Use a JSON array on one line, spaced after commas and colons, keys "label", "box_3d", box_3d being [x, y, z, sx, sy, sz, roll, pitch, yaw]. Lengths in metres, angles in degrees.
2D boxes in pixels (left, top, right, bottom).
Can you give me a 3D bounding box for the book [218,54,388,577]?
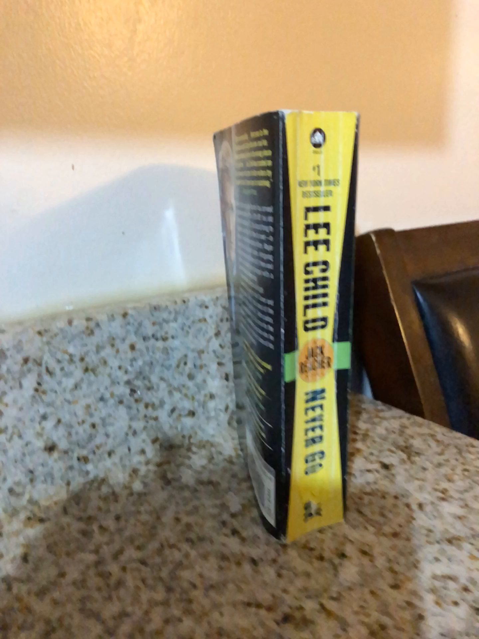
[{"label": "book", "box_3d": [0.022, -0.009, 0.300, 0.050, 0.219, 0.160, -2, 13, -7]}]
